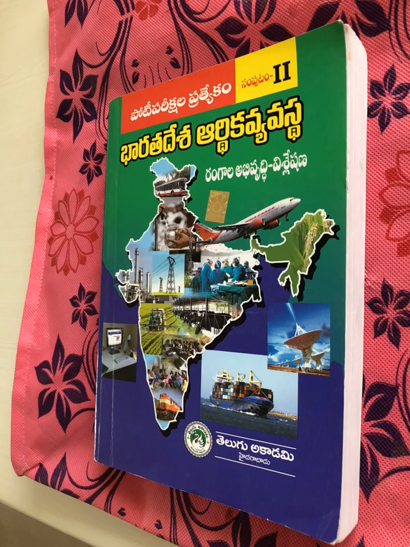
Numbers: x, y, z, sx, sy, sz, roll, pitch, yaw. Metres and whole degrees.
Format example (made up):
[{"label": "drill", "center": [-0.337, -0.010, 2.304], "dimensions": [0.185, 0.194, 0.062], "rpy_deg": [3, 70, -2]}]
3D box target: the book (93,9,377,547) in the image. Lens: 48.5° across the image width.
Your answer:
[{"label": "book", "center": [0.010, 0.002, 0.303], "dimensions": [0.191, 0.040, 0.280], "rpy_deg": [-1, 87, 35]}]
